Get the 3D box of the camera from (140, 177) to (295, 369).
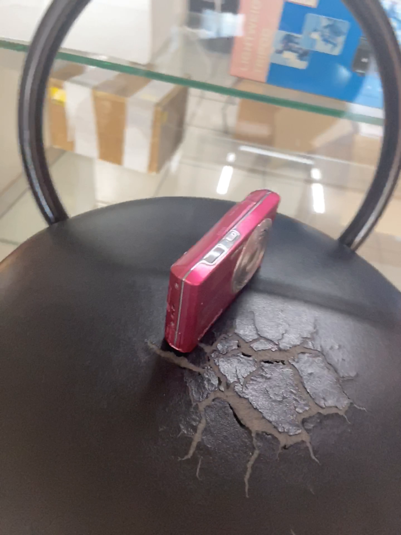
[{"bbox_3d":[0.011,-0.002,0.224,0.030,0.050,0.101,27,45,20],"label":"camera"}]
